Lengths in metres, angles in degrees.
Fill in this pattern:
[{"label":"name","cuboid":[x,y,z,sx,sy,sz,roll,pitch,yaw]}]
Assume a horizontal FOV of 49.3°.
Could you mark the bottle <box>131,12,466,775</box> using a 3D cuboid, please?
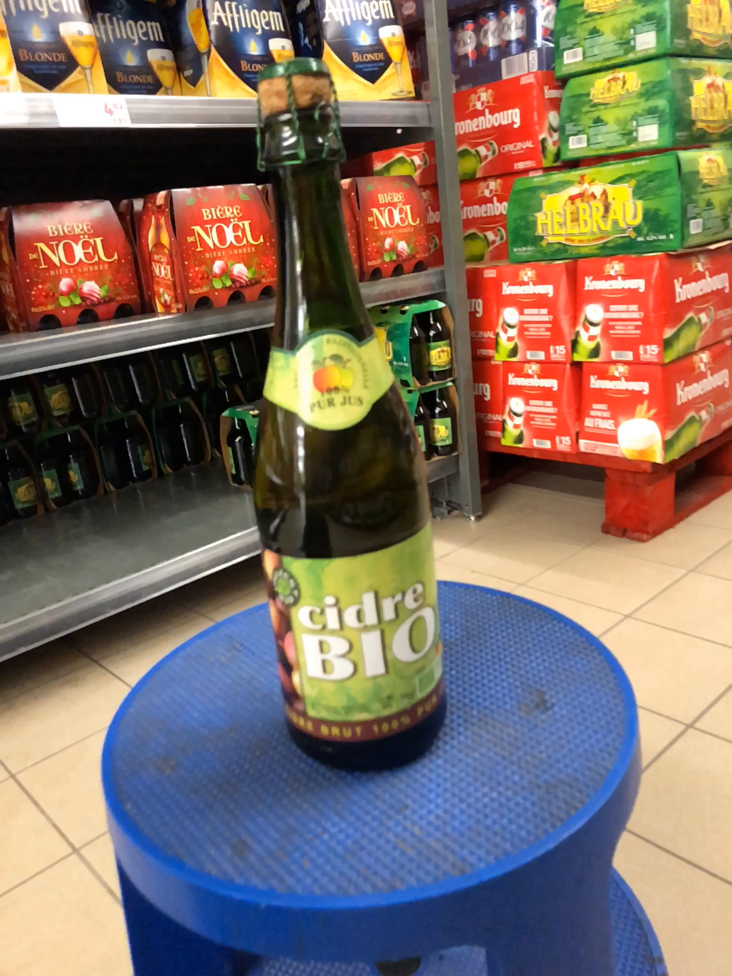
[{"label":"bottle","cuboid":[-0.013,-0.027,0.348,0.090,0.289,0.090,-6,17,2]}]
